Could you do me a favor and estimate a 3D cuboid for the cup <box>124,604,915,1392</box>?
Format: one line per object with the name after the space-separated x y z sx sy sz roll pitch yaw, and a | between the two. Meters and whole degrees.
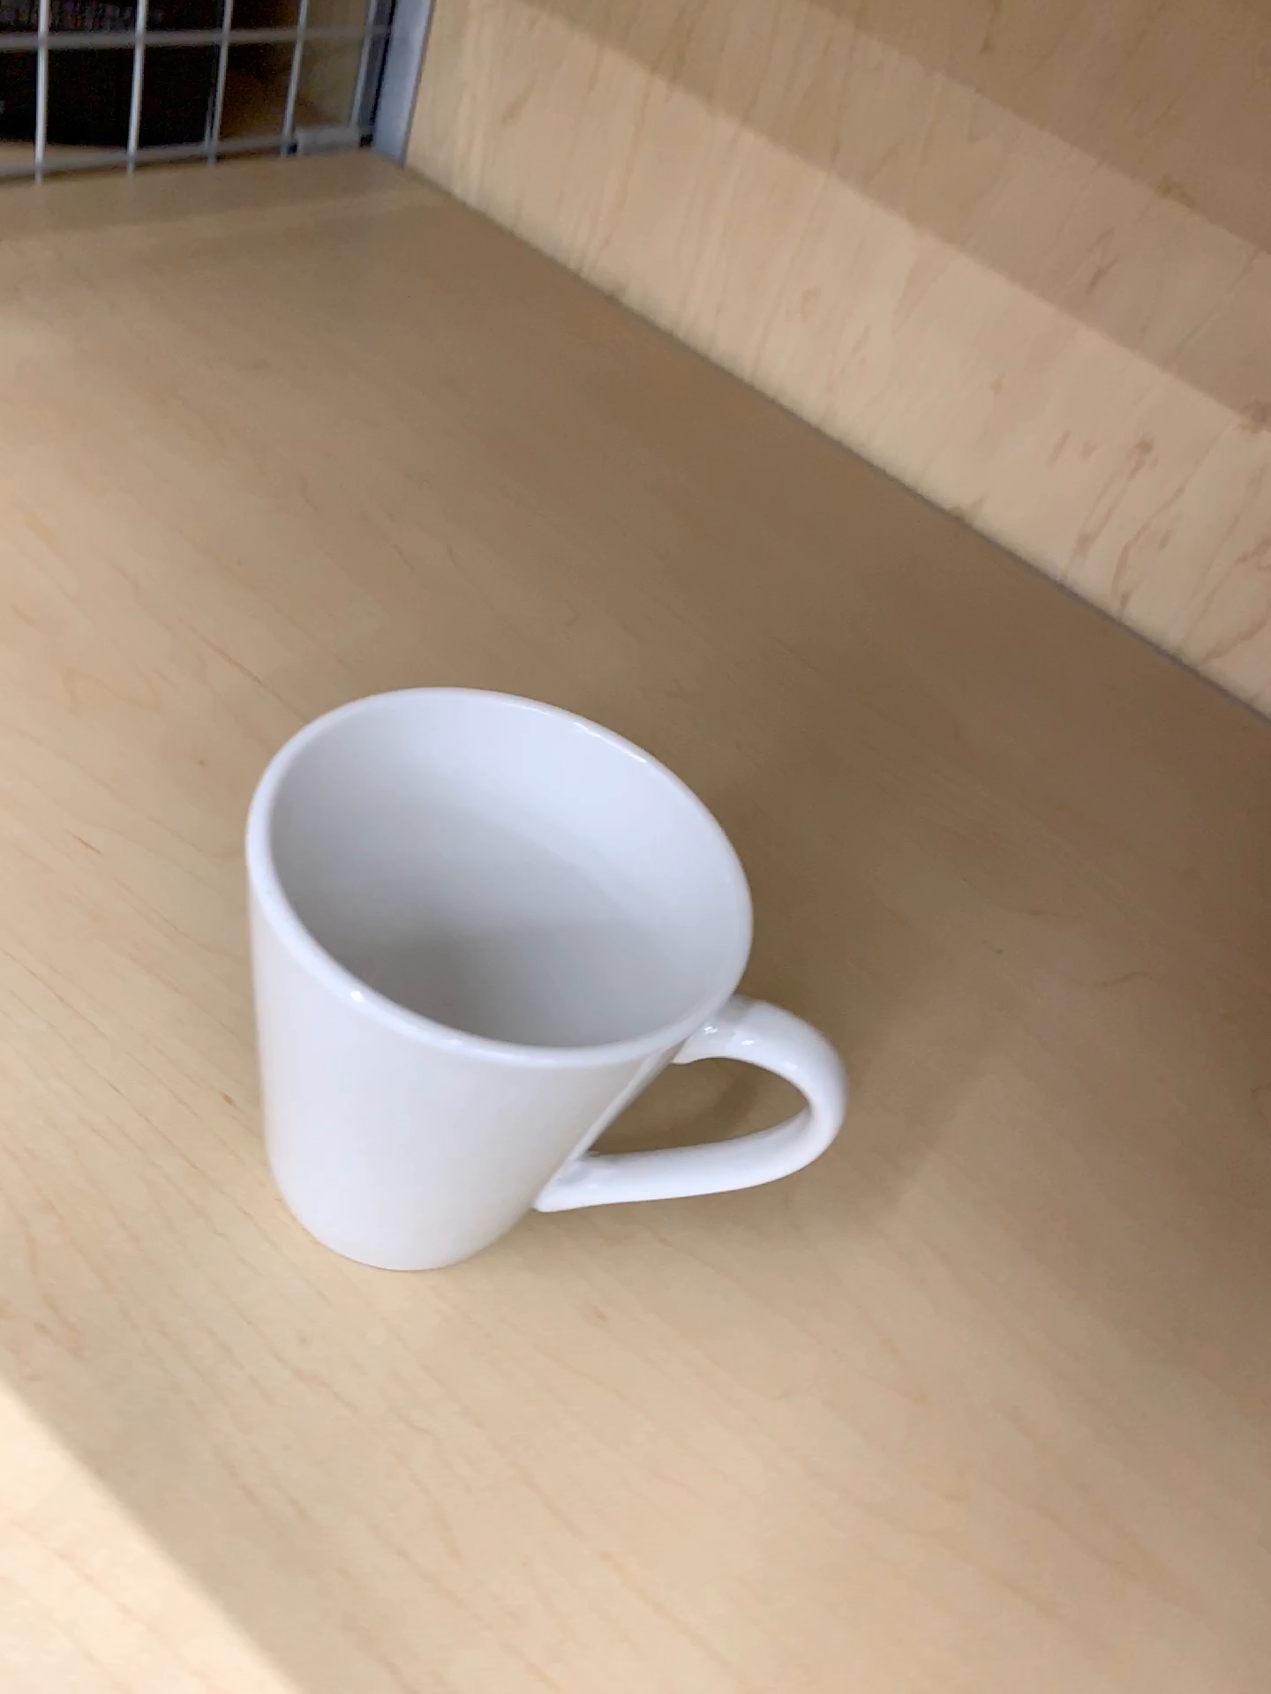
-0.023 0.033 0.279 0.128 0.090 0.094 21 44 -4 | cup
